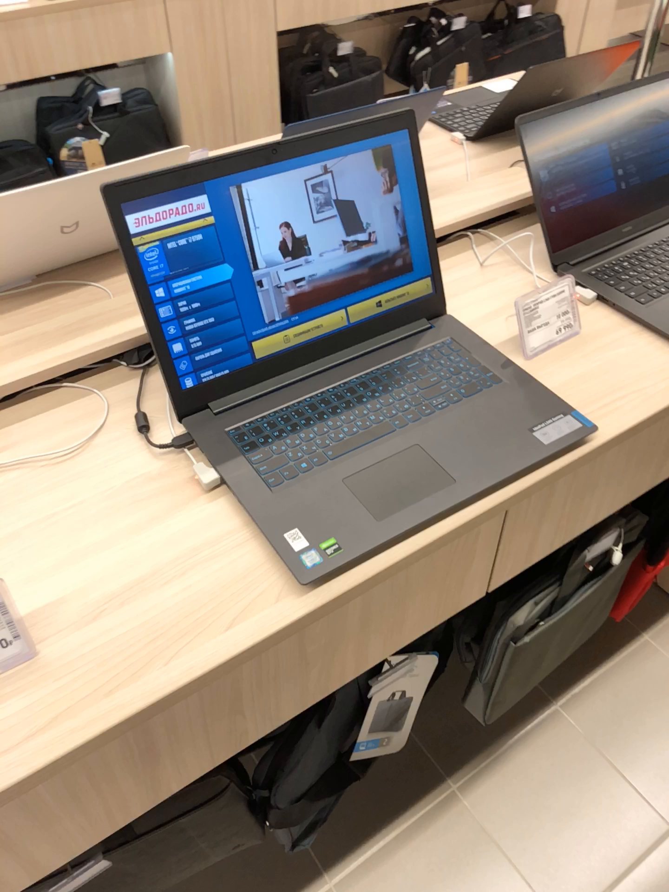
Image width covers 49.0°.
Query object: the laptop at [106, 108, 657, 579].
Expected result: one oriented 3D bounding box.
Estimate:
[{"bbox_3d":[0.033,-0.148,0.807,0.396,0.242,0.381,-24,49,-24],"label":"laptop"}]
